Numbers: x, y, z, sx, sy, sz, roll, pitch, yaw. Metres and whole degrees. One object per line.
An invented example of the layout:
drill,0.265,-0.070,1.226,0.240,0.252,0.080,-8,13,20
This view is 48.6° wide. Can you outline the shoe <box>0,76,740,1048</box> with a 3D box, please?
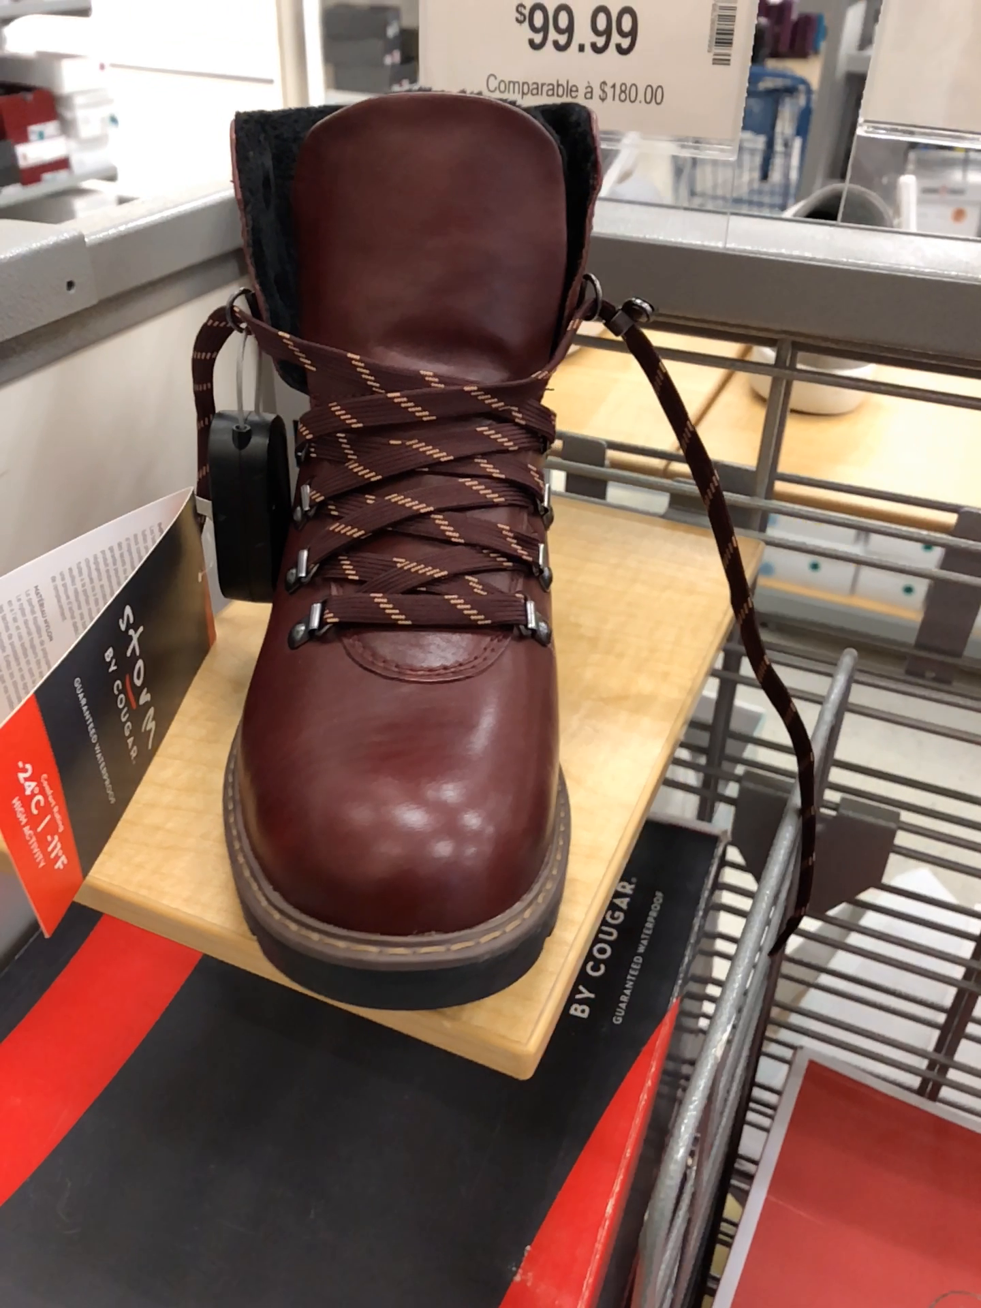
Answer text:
shoe,-0.024,-0.046,0.296,0.107,0.169,0.232,0,34,-3
